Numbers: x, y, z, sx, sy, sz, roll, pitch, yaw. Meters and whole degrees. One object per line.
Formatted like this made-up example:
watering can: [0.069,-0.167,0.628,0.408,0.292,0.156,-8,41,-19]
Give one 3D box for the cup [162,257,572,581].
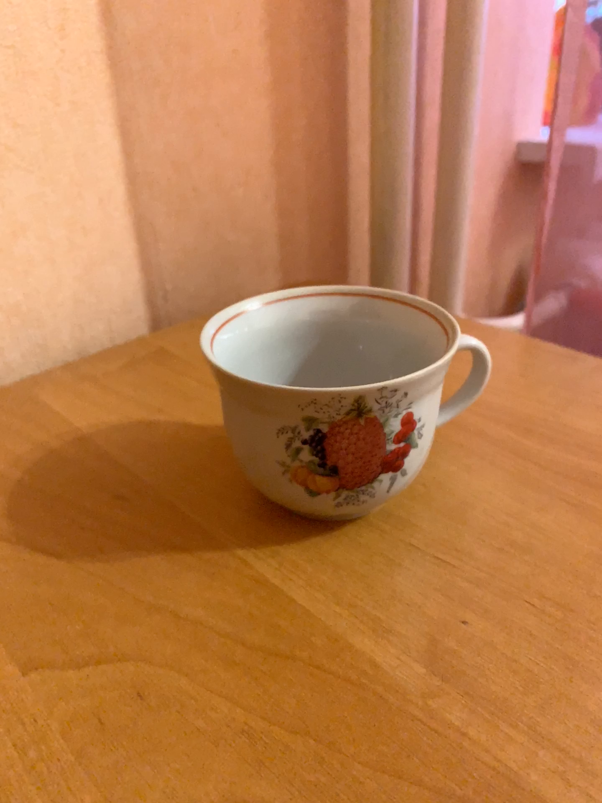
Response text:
cup: [0.020,-0.004,0.225,0.109,0.056,0.083,-17,32,-23]
